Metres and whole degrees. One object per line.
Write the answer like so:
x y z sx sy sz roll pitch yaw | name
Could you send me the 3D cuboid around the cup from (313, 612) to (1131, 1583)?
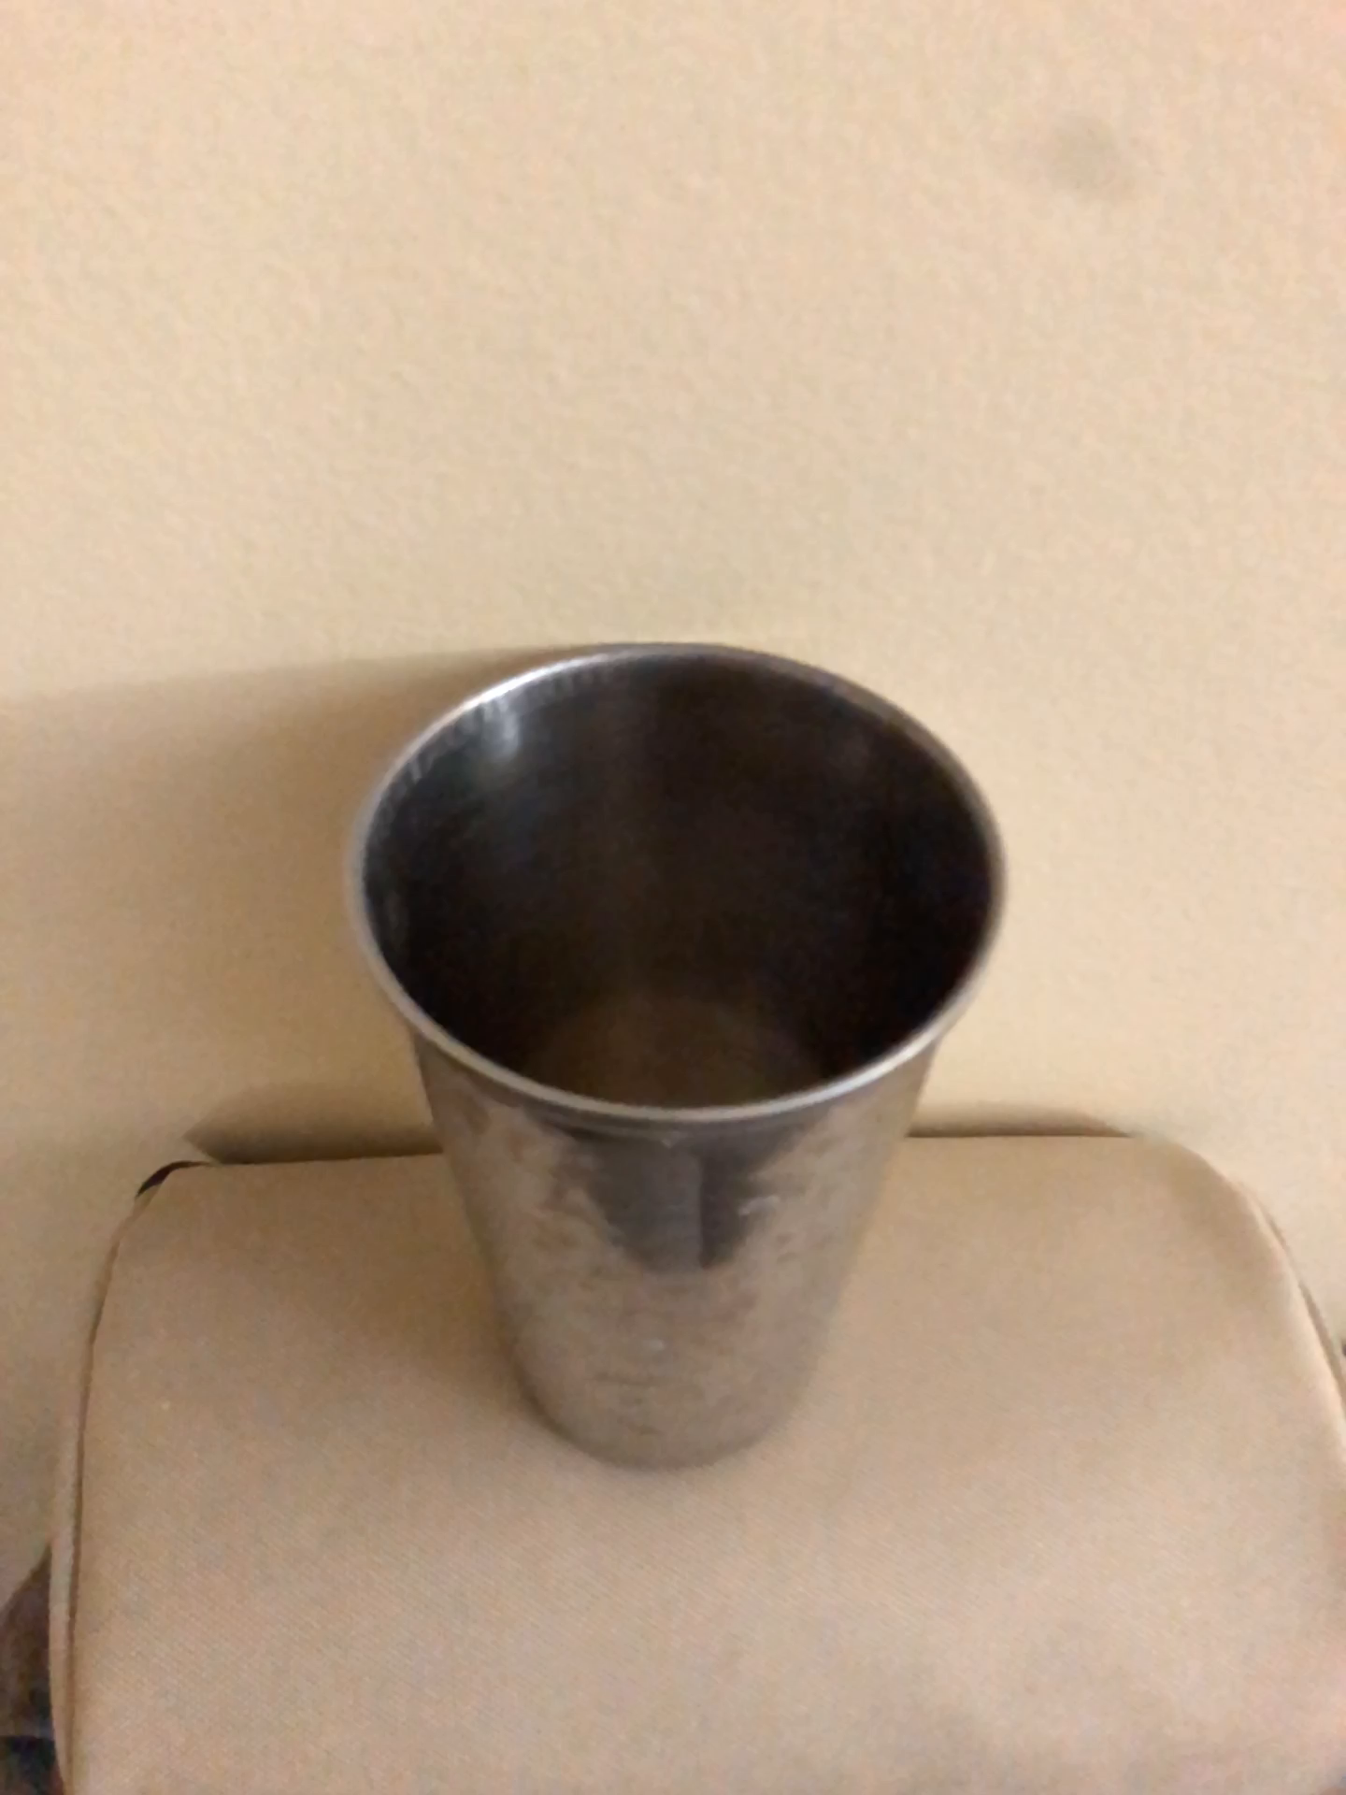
0.001 0.031 0.201 0.074 0.113 0.073 2 45 -2 | cup
